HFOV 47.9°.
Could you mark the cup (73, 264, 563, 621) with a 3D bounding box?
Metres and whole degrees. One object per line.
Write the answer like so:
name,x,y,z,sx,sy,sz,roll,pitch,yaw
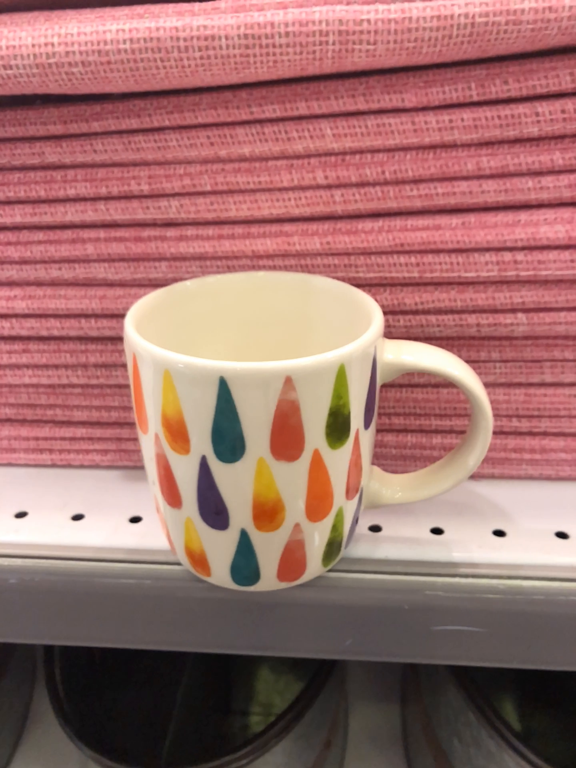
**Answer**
cup,0.010,0.014,0.232,0.130,0.089,0.091,1,26,3
